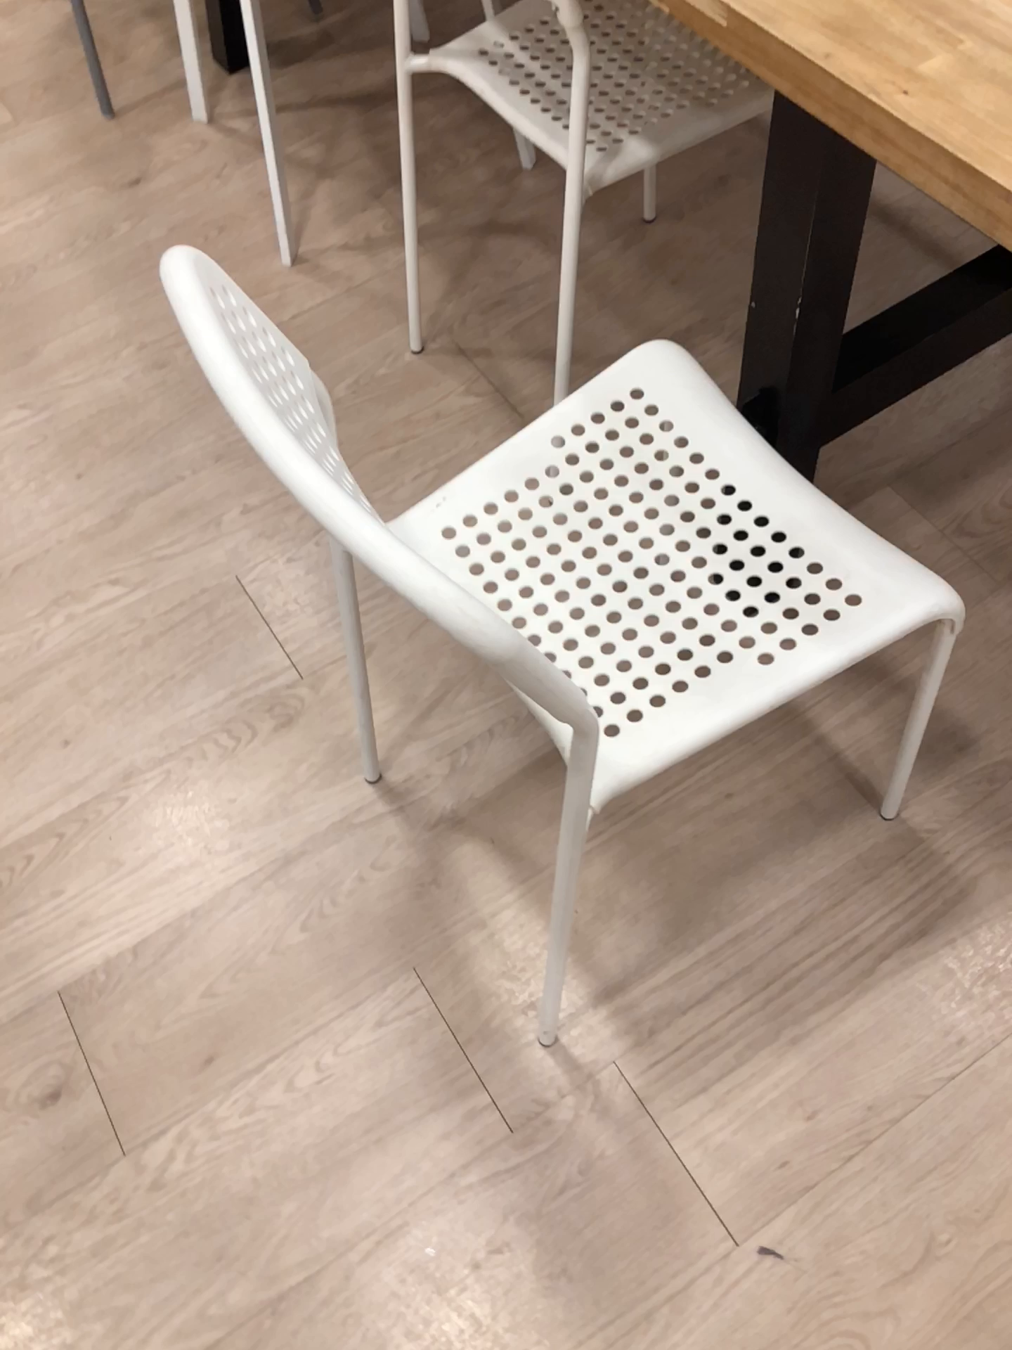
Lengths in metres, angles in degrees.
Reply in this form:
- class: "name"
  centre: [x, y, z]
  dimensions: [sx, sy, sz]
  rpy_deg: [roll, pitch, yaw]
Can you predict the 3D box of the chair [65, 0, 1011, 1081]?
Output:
- class: "chair"
  centre: [0.074, -0.054, 0.894]
  dimensions: [0.450, 0.697, 0.422]
  rpy_deg: [-30, 61, -11]
